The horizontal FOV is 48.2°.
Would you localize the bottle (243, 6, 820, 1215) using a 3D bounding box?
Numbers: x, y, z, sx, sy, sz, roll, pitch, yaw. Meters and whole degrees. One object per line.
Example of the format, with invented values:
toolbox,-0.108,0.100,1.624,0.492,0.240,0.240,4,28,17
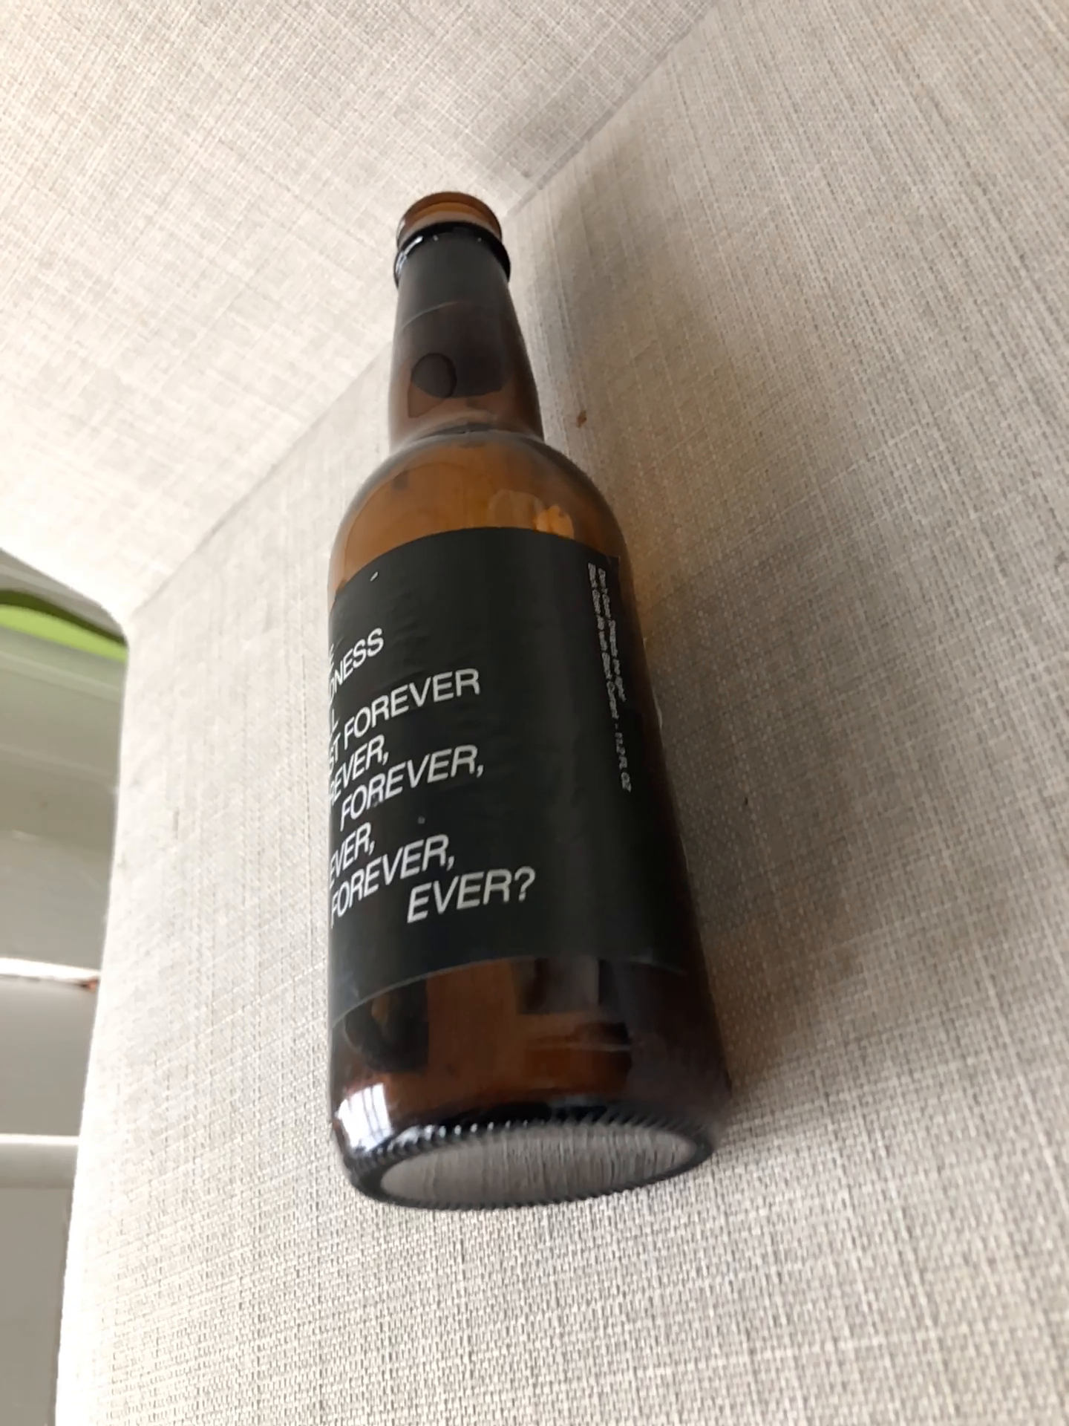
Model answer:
bottle,-0.014,-0.034,0.238,0.060,0.060,0.239,-33,50,35
